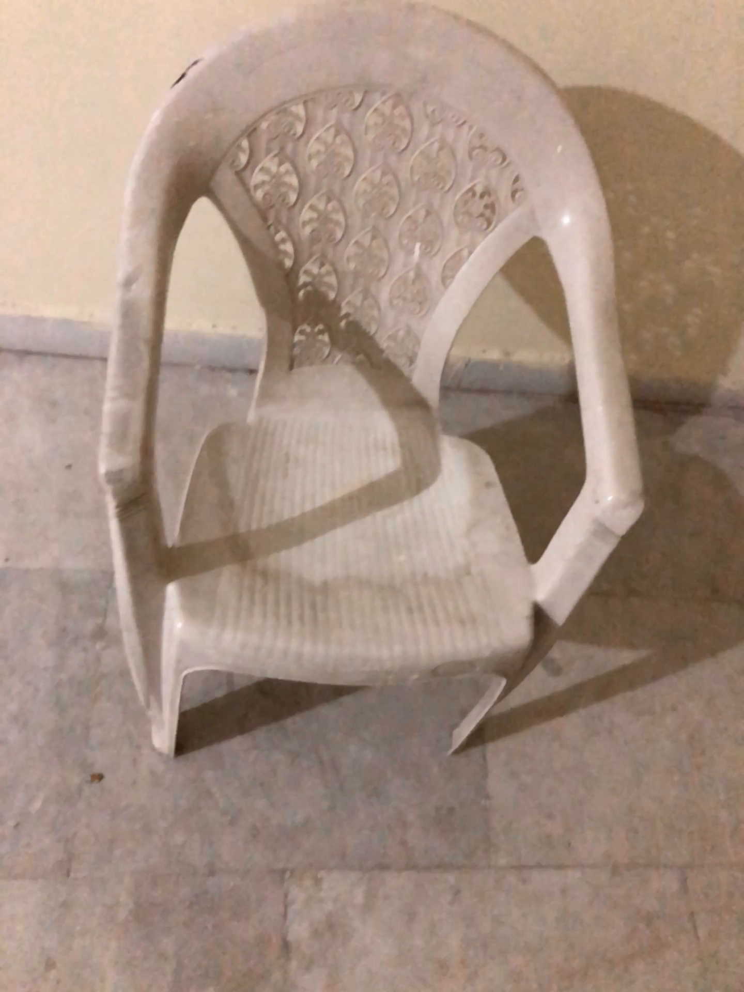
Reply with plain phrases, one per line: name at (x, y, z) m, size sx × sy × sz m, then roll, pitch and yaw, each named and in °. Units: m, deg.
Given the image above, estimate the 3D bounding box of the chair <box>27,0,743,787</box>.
chair at (-0.002, -0.026, 0.963) m, size 0.530 × 0.835 × 0.513 m, roll 4°, pitch 57°, yaw -9°
